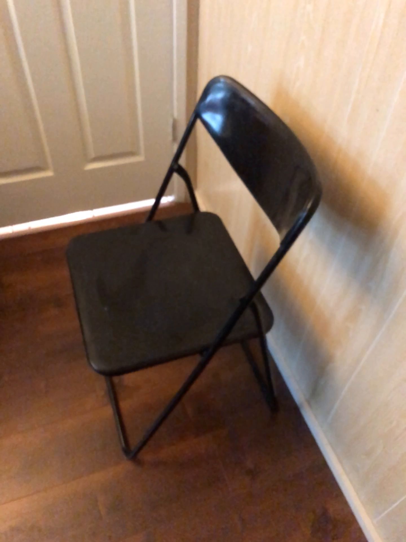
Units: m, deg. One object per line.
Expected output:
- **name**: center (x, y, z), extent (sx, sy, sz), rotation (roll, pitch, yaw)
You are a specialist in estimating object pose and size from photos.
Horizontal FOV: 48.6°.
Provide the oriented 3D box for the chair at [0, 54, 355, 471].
- **chair**: center (-0.097, 0.000, 0.978), extent (0.470, 0.666, 0.493), rotation (-14, 50, -14)
